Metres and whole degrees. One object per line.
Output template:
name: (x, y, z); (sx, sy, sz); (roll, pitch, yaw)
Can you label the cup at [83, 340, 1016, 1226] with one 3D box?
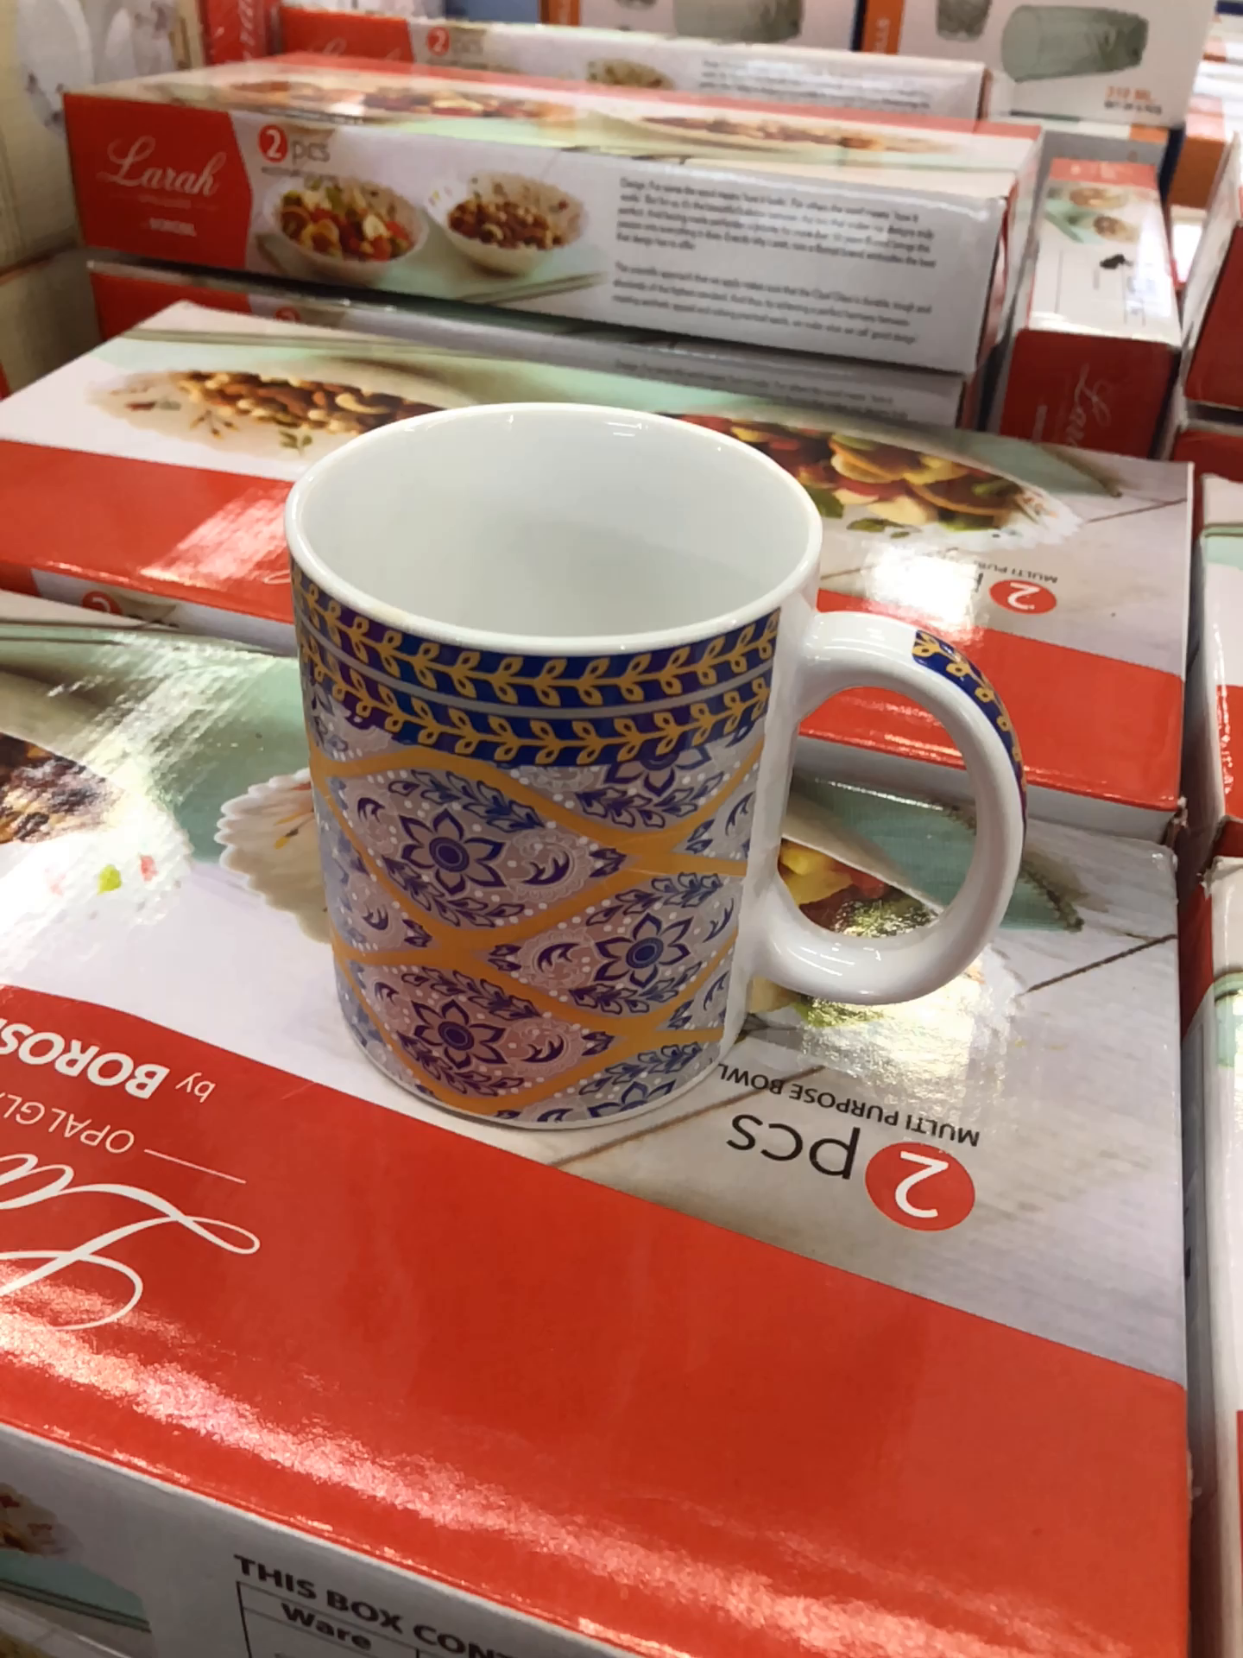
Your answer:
cup: (-0.006, -0.010, 0.221); (0.110, 0.099, 0.081); (8, 36, 6)
